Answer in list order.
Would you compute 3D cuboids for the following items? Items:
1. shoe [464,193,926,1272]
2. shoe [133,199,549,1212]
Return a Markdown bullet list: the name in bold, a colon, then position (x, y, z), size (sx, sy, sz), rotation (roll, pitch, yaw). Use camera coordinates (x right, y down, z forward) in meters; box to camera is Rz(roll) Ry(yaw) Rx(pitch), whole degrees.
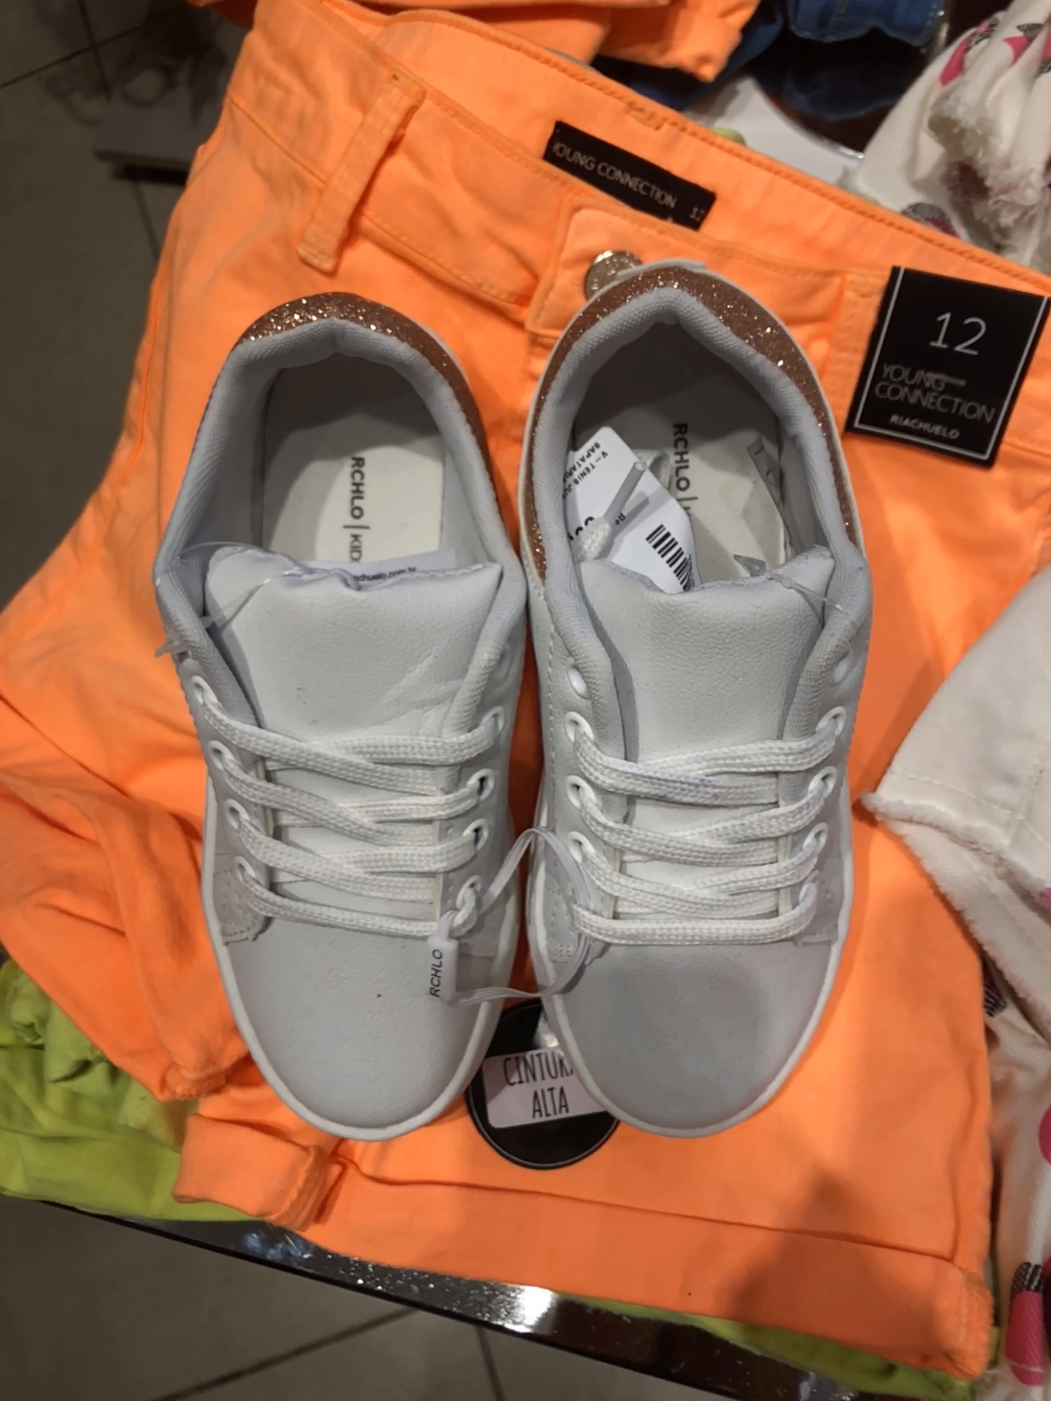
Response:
- **shoe**: position (0.040, 0.009, 0.265), size (0.080, 0.070, 0.210), rotation (-3, 99, 9)
- **shoe**: position (-0.038, 0.002, 0.279), size (0.080, 0.070, 0.210), rotation (-1, 99, -5)
